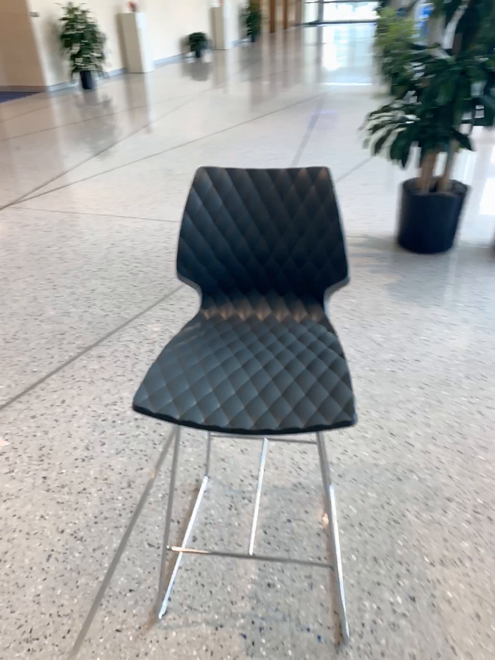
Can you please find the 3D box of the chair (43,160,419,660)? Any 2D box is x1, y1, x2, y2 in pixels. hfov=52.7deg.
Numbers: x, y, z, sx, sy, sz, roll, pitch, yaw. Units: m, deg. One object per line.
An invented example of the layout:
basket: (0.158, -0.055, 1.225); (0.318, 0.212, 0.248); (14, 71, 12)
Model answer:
chair: (0.023, 0.205, 1.197); (0.531, 1.048, 0.551); (4, 33, 9)
